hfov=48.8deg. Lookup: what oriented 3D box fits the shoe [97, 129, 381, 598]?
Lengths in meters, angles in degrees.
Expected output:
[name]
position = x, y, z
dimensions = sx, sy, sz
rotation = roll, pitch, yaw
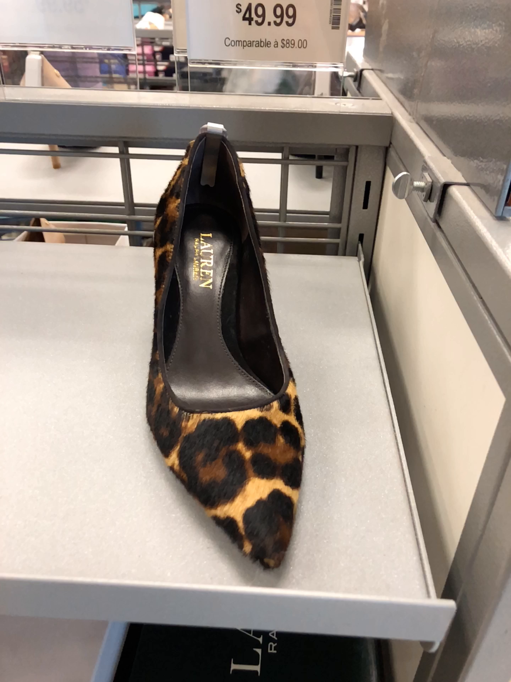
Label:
[shoe]
position = -0.025, -0.021, 0.325
dimensions = 0.090, 0.129, 0.272
rotation = -4, 34, -8
